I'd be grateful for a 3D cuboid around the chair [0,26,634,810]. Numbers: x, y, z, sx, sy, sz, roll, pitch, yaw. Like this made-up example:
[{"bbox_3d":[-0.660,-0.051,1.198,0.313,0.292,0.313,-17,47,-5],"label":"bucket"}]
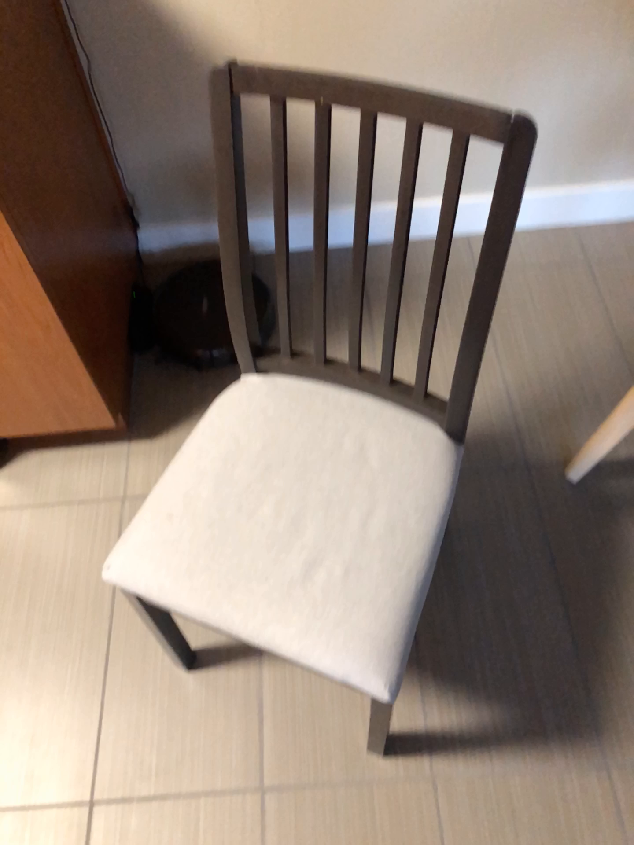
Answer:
[{"bbox_3d":[-0.015,0.060,0.989,0.580,0.847,0.591,17,58,15],"label":"chair"}]
